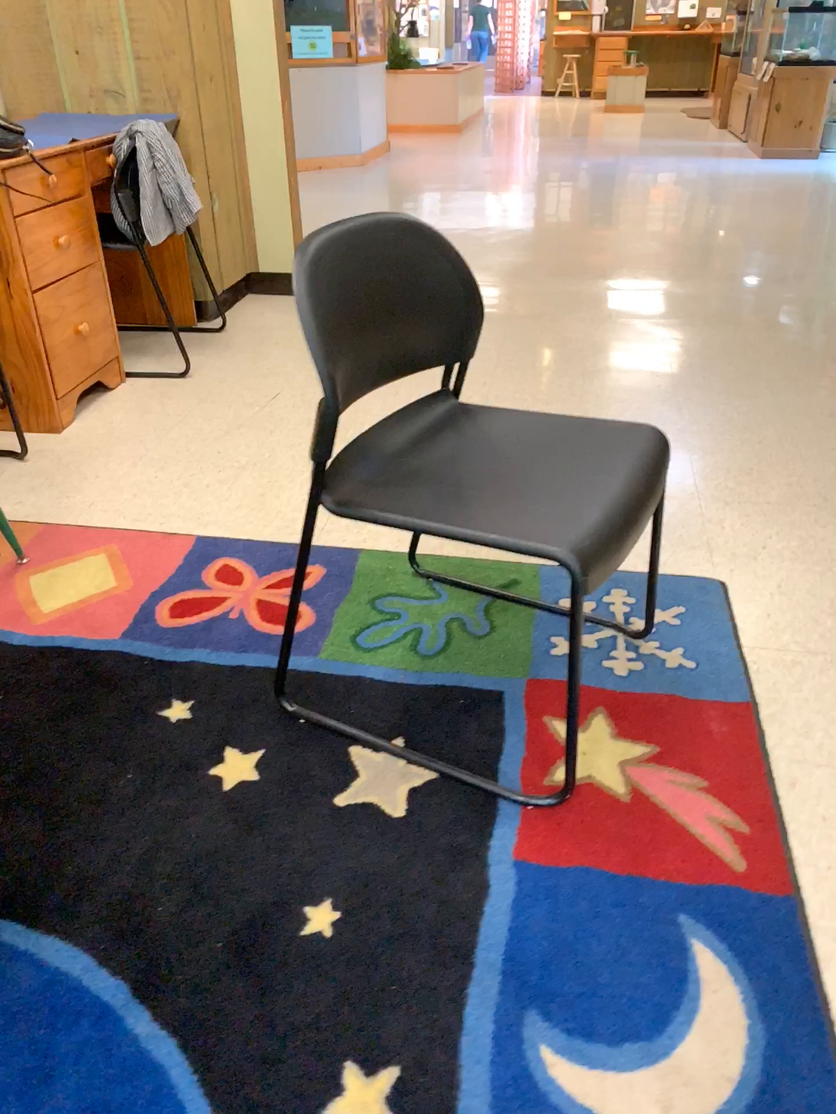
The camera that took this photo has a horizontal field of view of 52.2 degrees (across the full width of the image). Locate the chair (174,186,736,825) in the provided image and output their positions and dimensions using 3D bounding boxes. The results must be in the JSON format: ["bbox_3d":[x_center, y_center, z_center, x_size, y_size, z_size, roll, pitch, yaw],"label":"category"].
[{"bbox_3d":[0.089,-0.142,1.423,0.611,0.775,0.593,15,34,24],"label":"chair"}]
